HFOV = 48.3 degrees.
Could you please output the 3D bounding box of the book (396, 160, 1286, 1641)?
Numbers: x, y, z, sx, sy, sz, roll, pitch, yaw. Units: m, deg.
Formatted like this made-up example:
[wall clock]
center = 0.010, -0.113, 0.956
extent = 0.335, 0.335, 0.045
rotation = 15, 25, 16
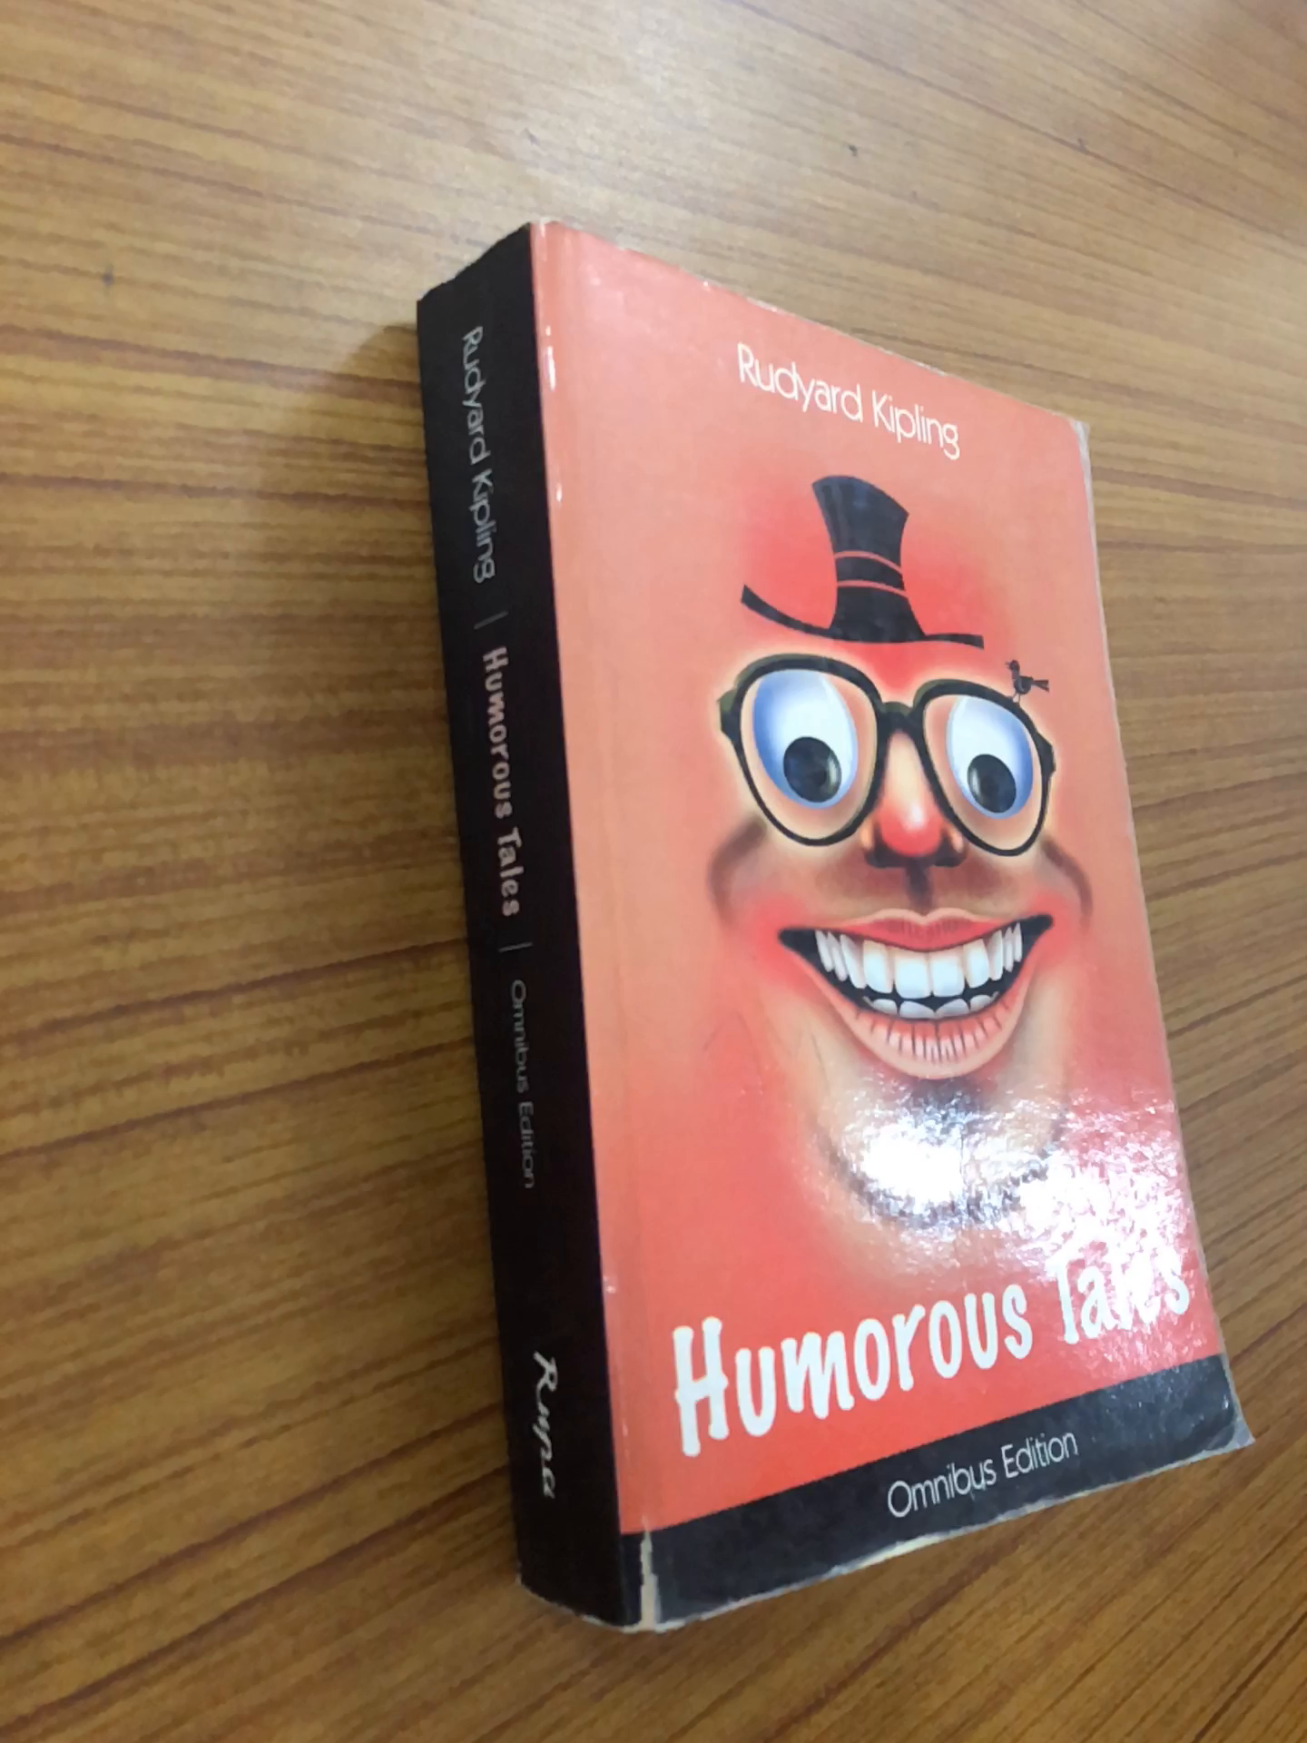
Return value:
[book]
center = 0.032, 0.001, 0.237
extent = 0.131, 0.040, 0.190
rotation = 1, 80, -33
